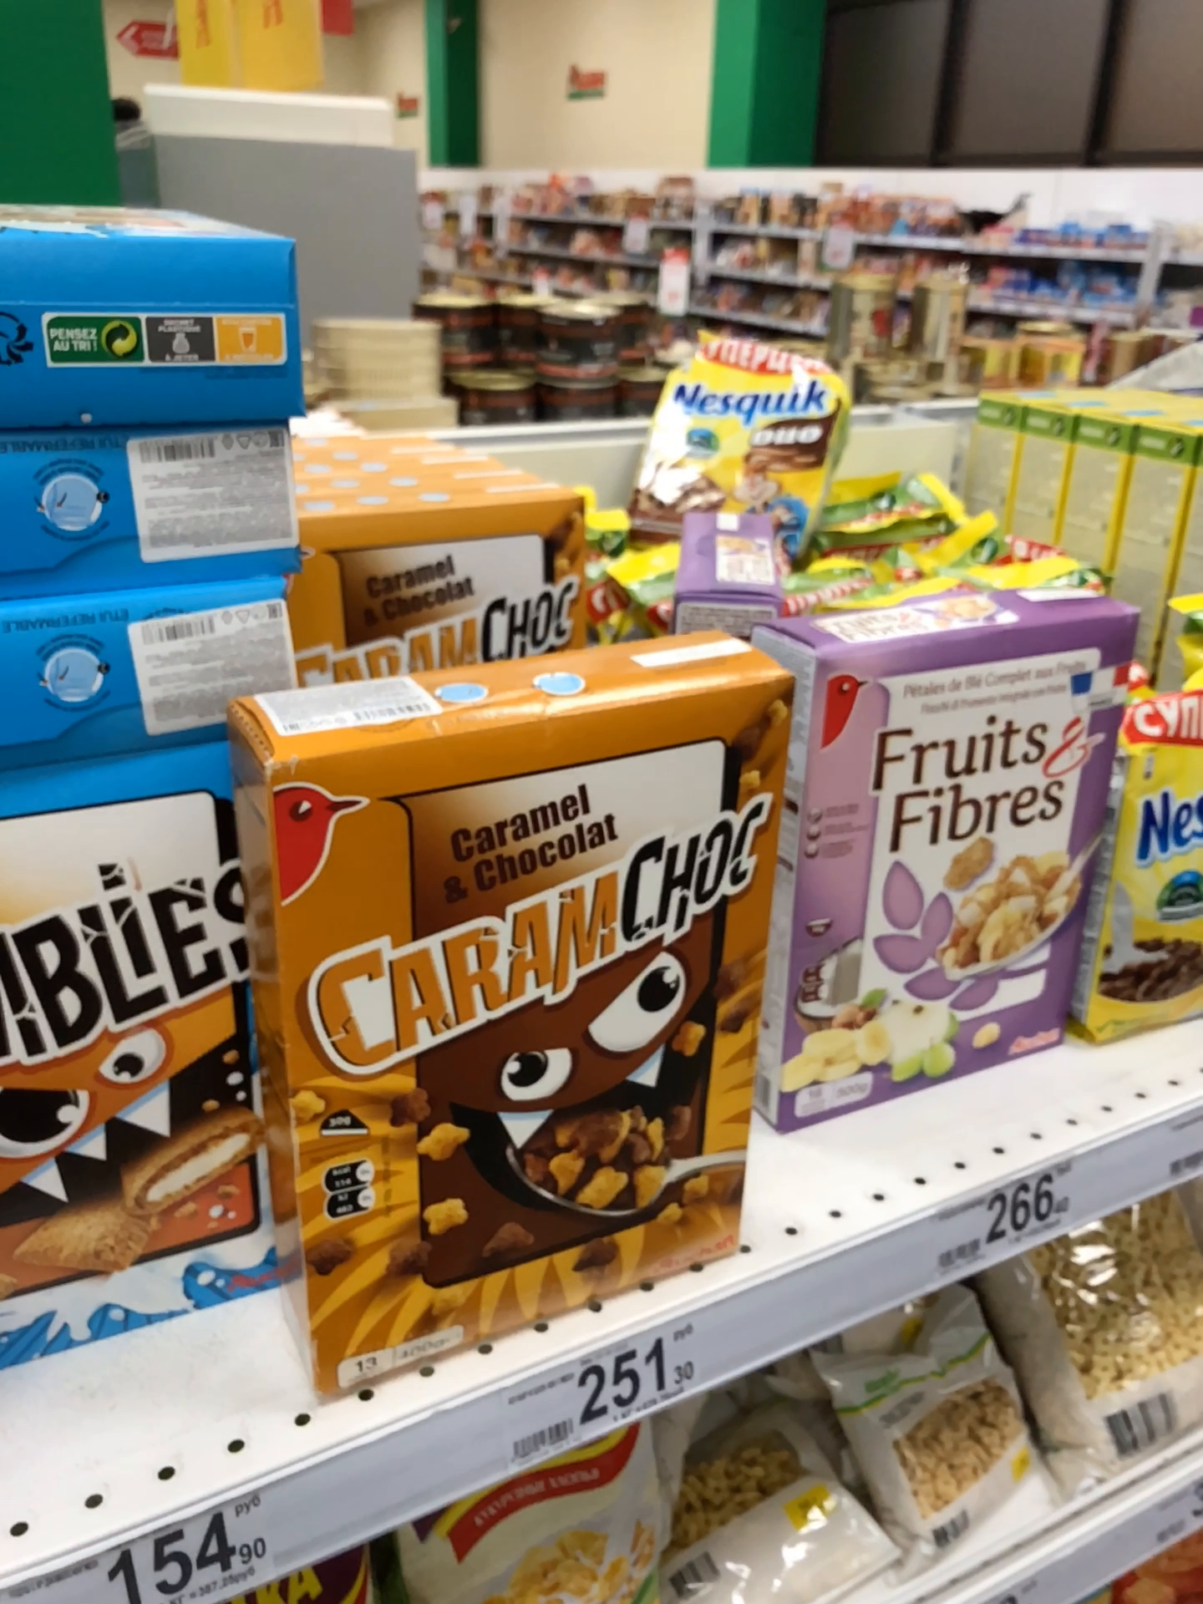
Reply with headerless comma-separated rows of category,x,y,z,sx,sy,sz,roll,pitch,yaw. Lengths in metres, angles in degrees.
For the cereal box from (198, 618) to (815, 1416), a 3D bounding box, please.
cereal box,-0.033,0.079,0.508,0.200,0.268,0.060,-10,28,-26
